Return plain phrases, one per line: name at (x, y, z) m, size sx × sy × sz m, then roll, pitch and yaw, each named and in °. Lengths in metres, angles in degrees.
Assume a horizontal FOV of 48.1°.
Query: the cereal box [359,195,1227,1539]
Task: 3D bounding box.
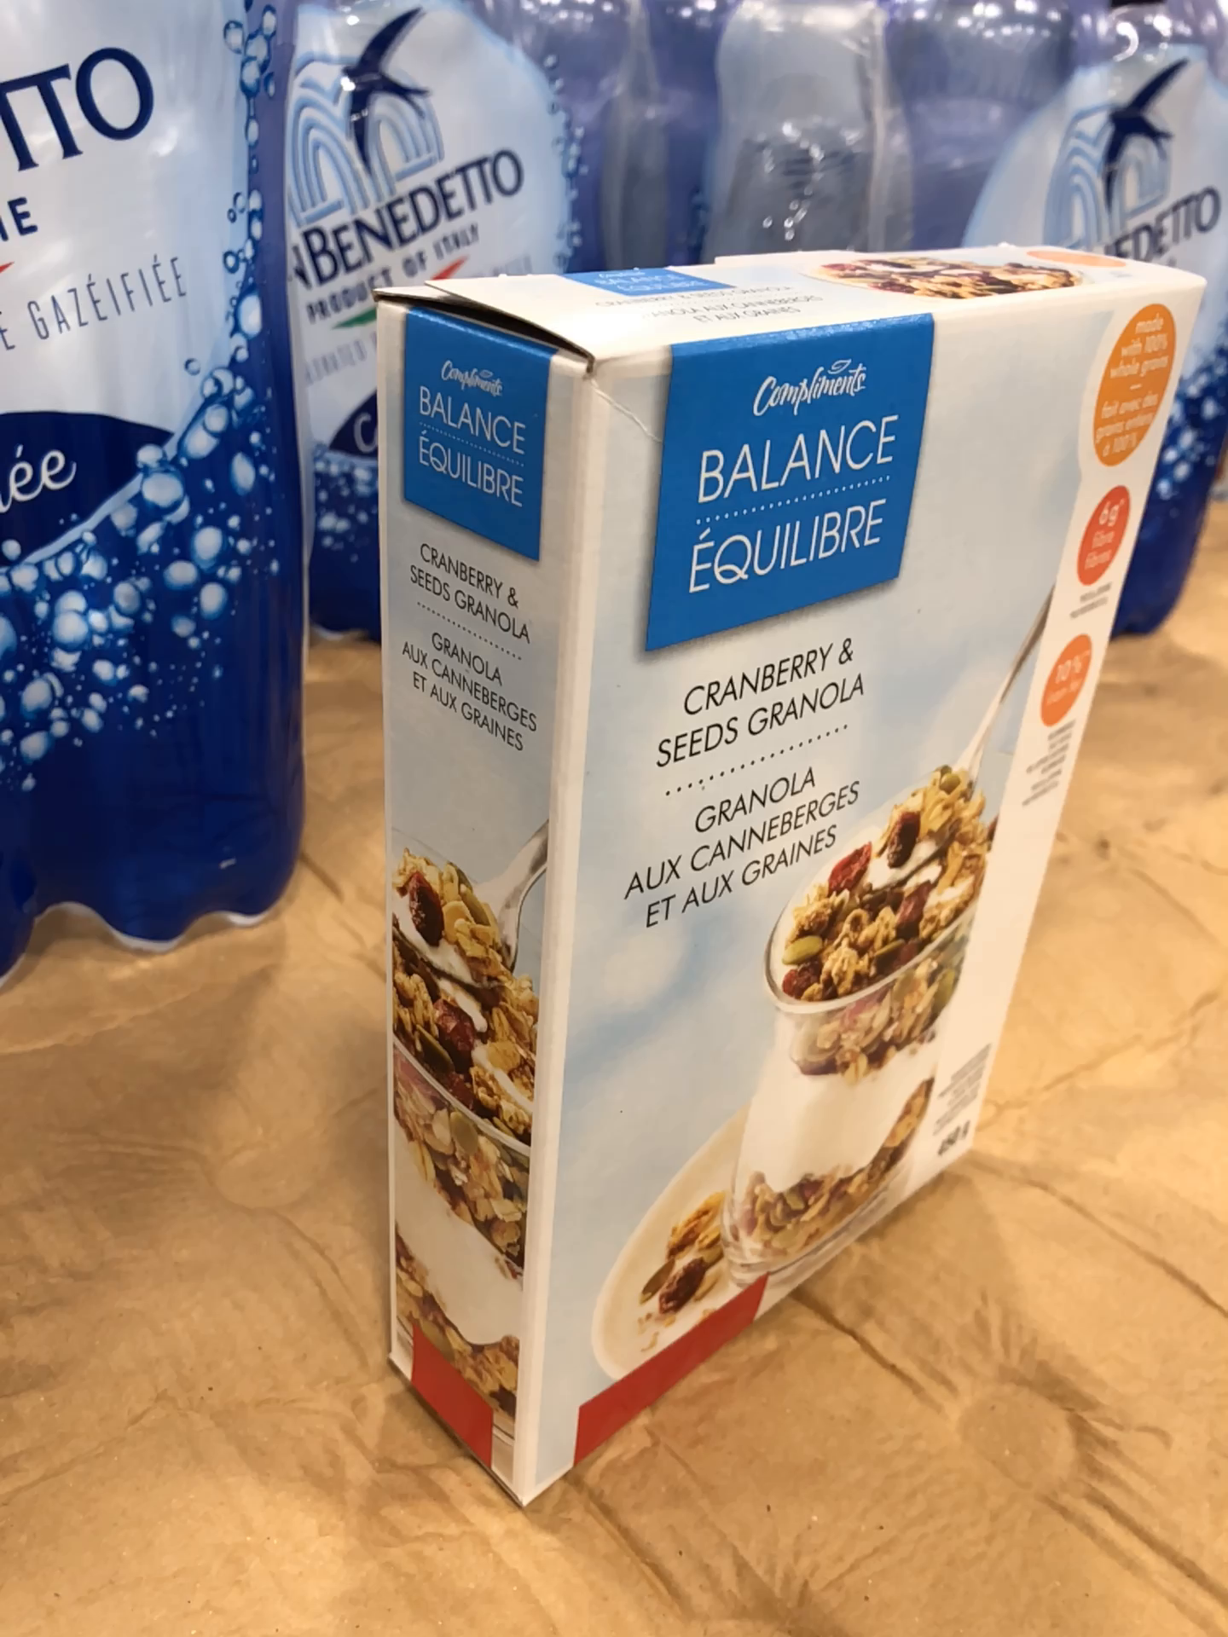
cereal box at (0.042, 0.004, 0.281) m, size 0.180 × 0.229 × 0.050 m, roll -23°, pitch 39°, yaw -37°
